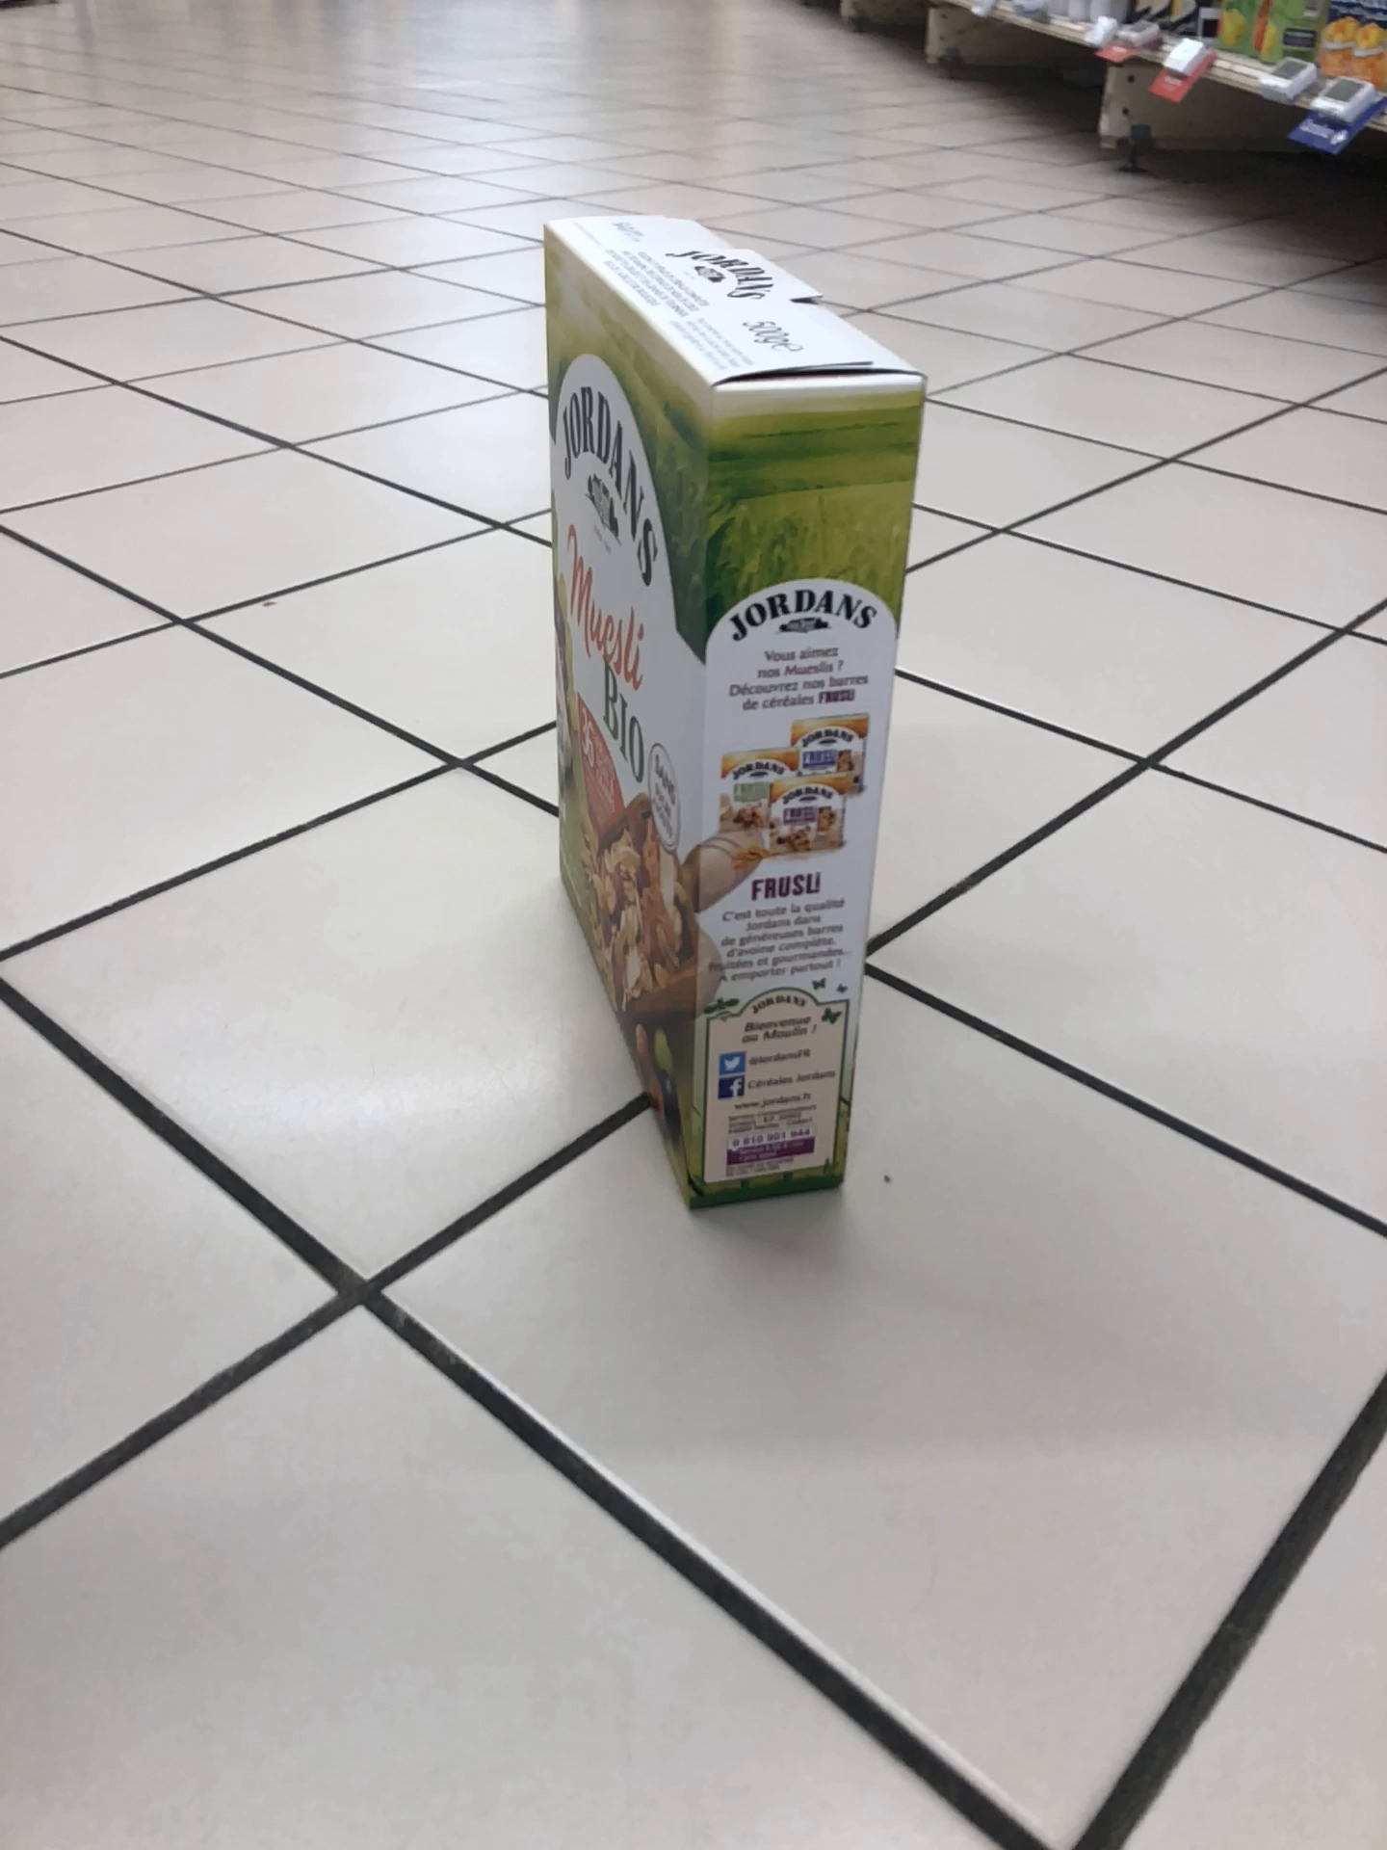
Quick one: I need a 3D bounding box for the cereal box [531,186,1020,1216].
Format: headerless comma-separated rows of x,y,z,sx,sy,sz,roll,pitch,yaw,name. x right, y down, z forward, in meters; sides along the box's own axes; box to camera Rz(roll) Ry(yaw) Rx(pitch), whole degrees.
0.004,-0.069,0.409,0.060,0.209,0.191,-6,34,-13,cereal box
